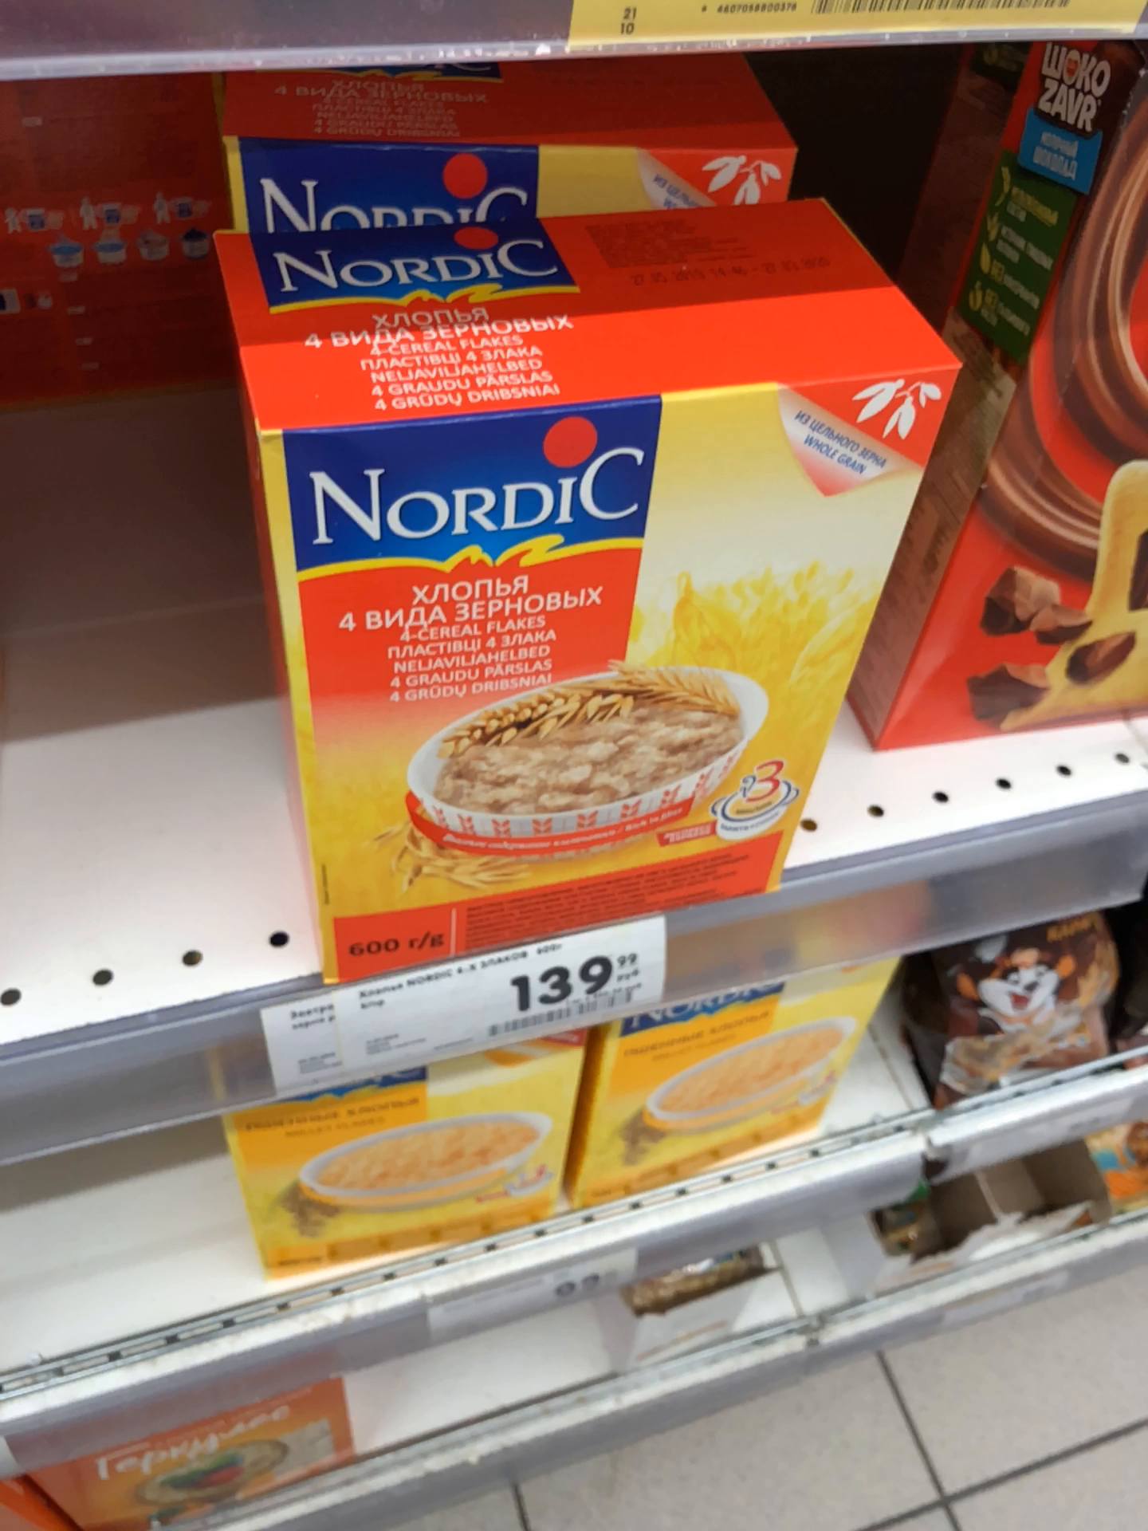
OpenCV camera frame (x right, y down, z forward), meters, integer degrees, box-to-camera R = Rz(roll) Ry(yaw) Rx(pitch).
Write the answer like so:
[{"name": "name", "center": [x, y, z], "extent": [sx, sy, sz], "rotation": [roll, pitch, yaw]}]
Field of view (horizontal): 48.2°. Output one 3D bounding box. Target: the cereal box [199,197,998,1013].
[{"name": "cereal box", "center": [-0.004, -0.034, 0.338], "extent": [0.150, 0.189, 0.080], "rotation": [-10, 51, -14]}]
